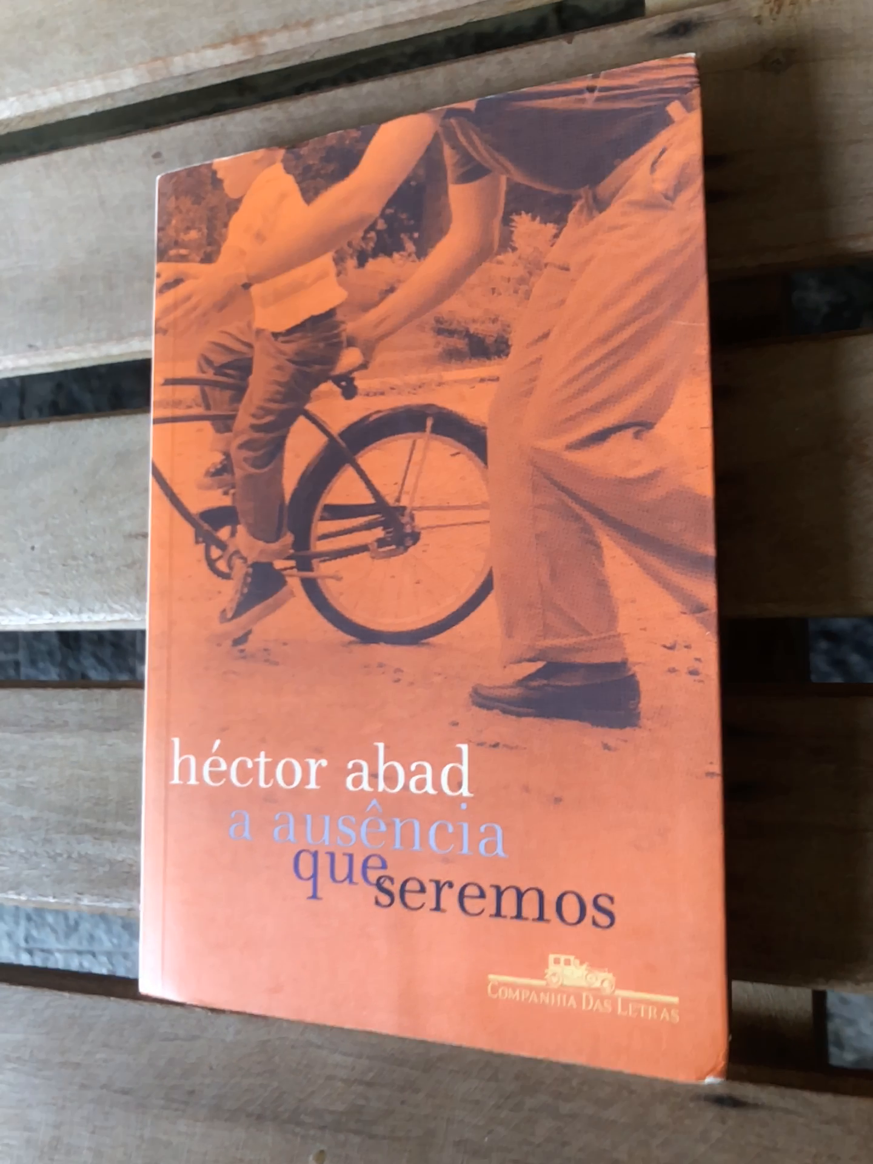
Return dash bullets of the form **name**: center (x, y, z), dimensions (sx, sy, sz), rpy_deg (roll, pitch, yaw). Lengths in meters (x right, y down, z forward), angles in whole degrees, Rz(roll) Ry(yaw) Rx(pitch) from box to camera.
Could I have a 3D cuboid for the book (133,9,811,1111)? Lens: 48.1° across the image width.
- **book**: center (0.001, -0.006, 0.212), dimensions (0.143, 0.020, 0.200), rpy_deg (-2, 85, 22)
